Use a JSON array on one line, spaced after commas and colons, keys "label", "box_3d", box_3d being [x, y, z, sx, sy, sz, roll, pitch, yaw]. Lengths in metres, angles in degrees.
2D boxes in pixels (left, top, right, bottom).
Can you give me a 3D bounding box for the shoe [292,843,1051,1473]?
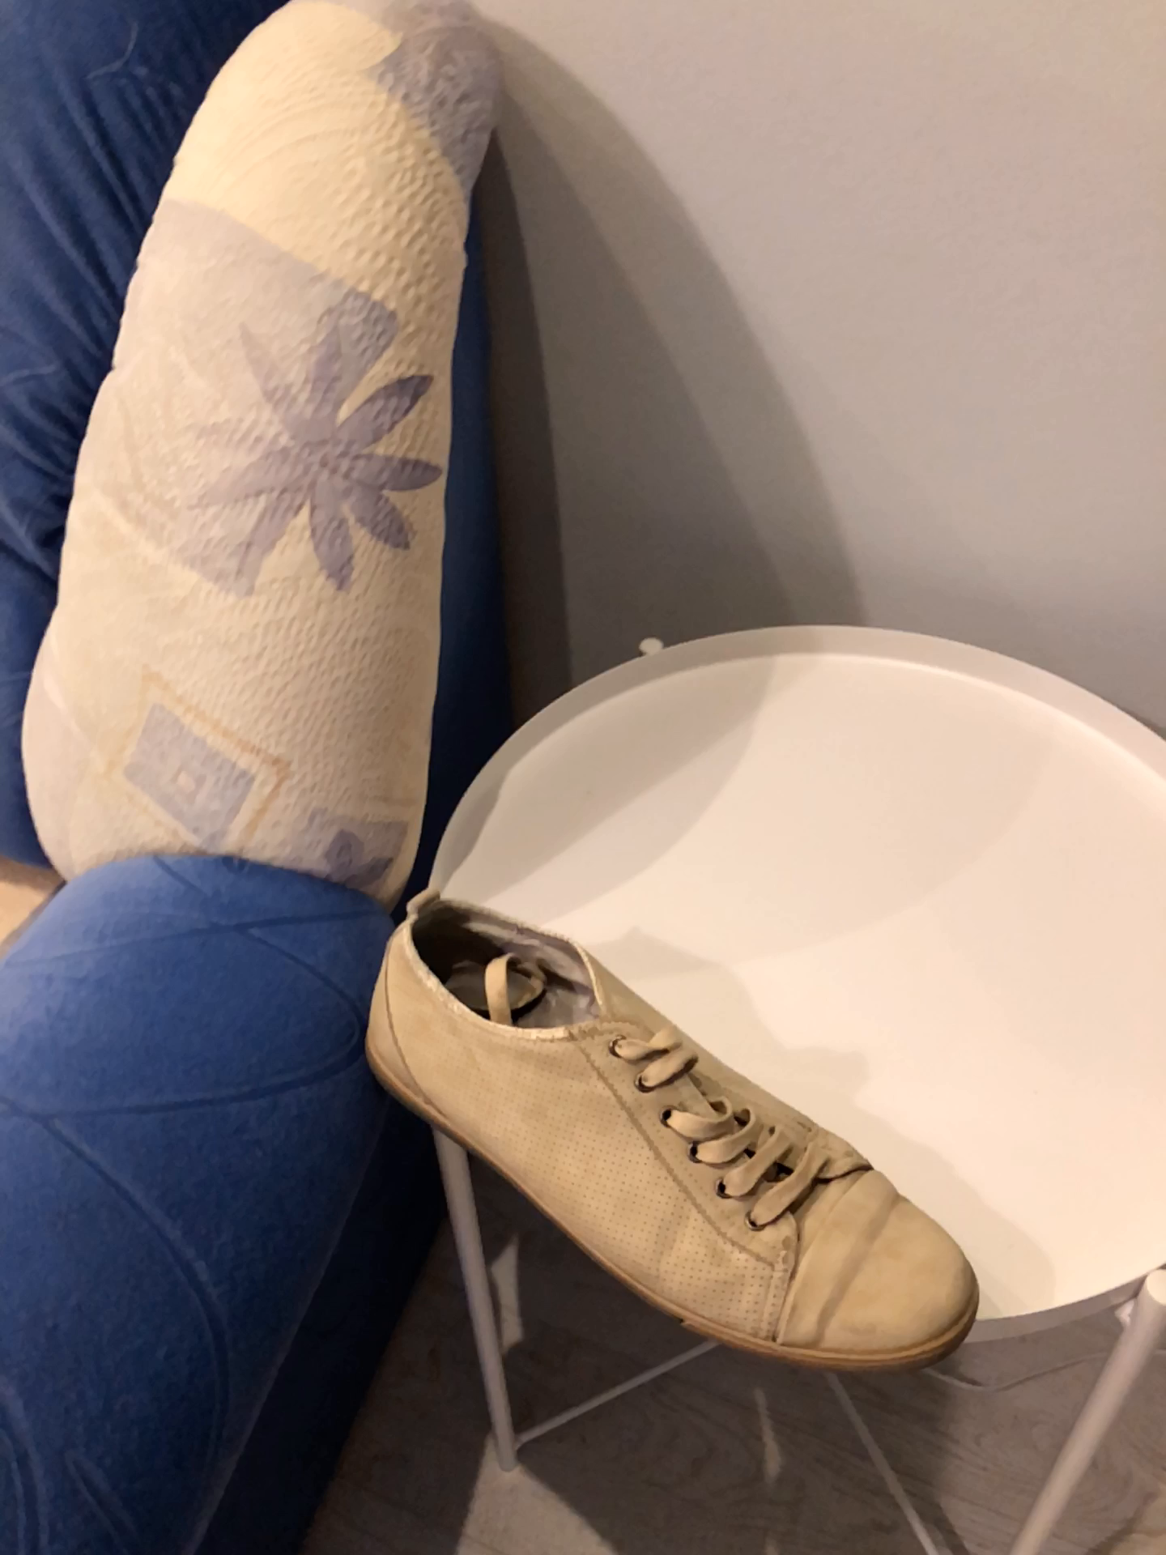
[{"label": "shoe", "box_3d": [0.028, 0.139, 0.527, 0.281, 0.070, 0.111, 24, 47, 24]}]
